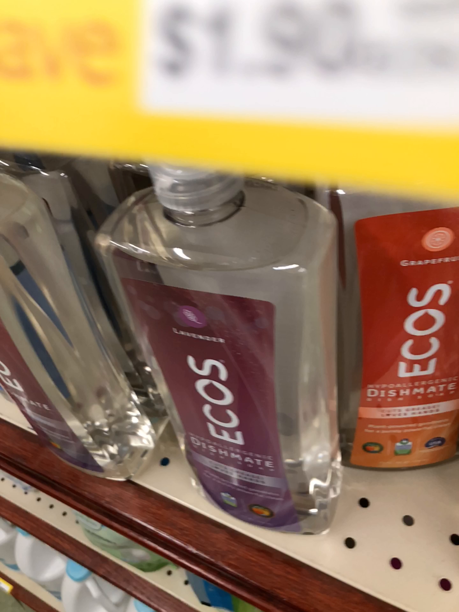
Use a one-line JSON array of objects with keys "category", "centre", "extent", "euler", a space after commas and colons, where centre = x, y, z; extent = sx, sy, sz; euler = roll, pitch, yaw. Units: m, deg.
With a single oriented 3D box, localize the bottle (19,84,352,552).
[{"category": "bottle", "centre": [0.006, 0.029, 0.239], "extent": [0.090, 0.243, 0.048], "euler": [12, 49, 24]}]
